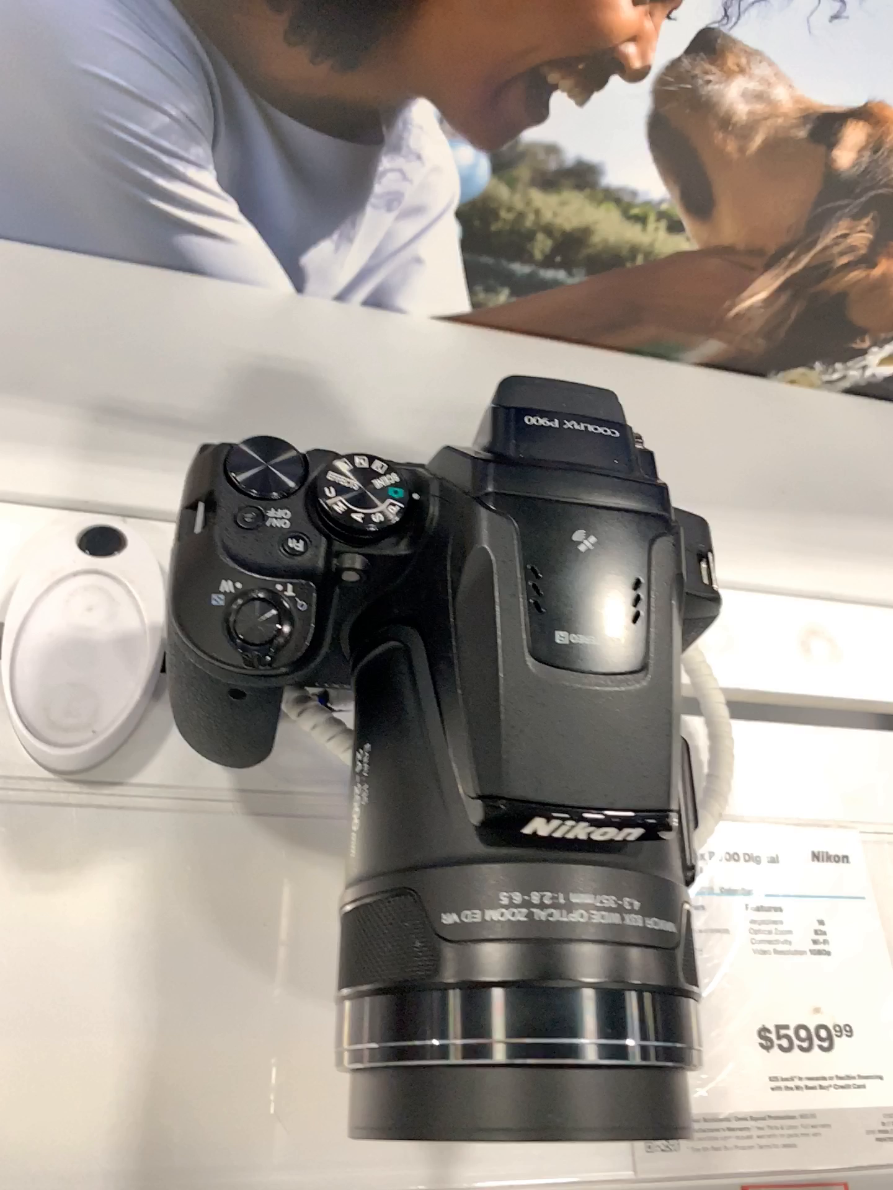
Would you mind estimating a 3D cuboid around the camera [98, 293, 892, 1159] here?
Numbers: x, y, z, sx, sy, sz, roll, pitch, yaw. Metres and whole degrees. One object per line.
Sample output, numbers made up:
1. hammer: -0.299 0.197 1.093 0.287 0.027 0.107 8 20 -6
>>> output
1. camera: 0.008 0.035 0.212 0.140 0.100 0.153 7 57 -15
